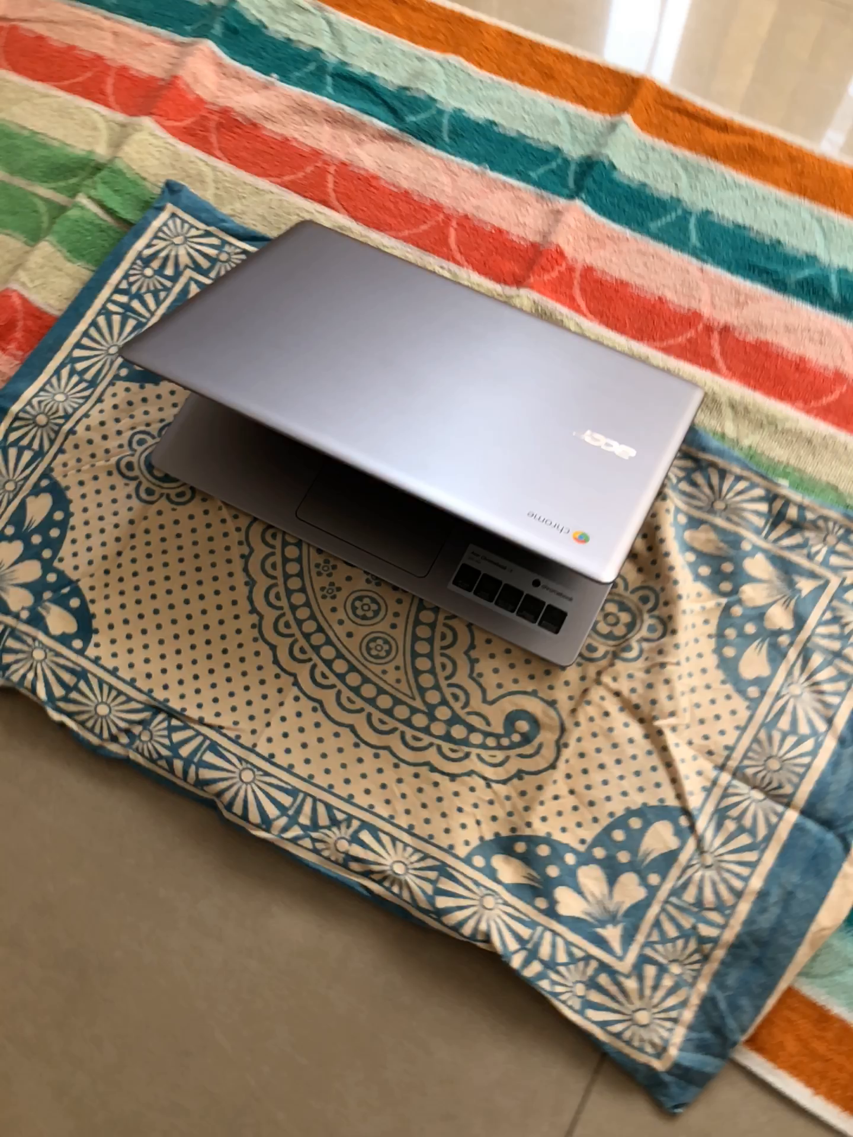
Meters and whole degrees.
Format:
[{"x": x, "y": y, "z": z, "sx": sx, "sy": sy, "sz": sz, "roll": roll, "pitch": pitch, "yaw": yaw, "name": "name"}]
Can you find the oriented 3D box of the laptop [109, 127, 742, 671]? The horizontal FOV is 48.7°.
[{"x": 0.001, "y": -0.114, "z": 0.624, "sx": 0.319, "sy": 0.105, "sz": 0.222, "roll": 27, "pitch": 76, "yaw": 10, "name": "laptop"}]
